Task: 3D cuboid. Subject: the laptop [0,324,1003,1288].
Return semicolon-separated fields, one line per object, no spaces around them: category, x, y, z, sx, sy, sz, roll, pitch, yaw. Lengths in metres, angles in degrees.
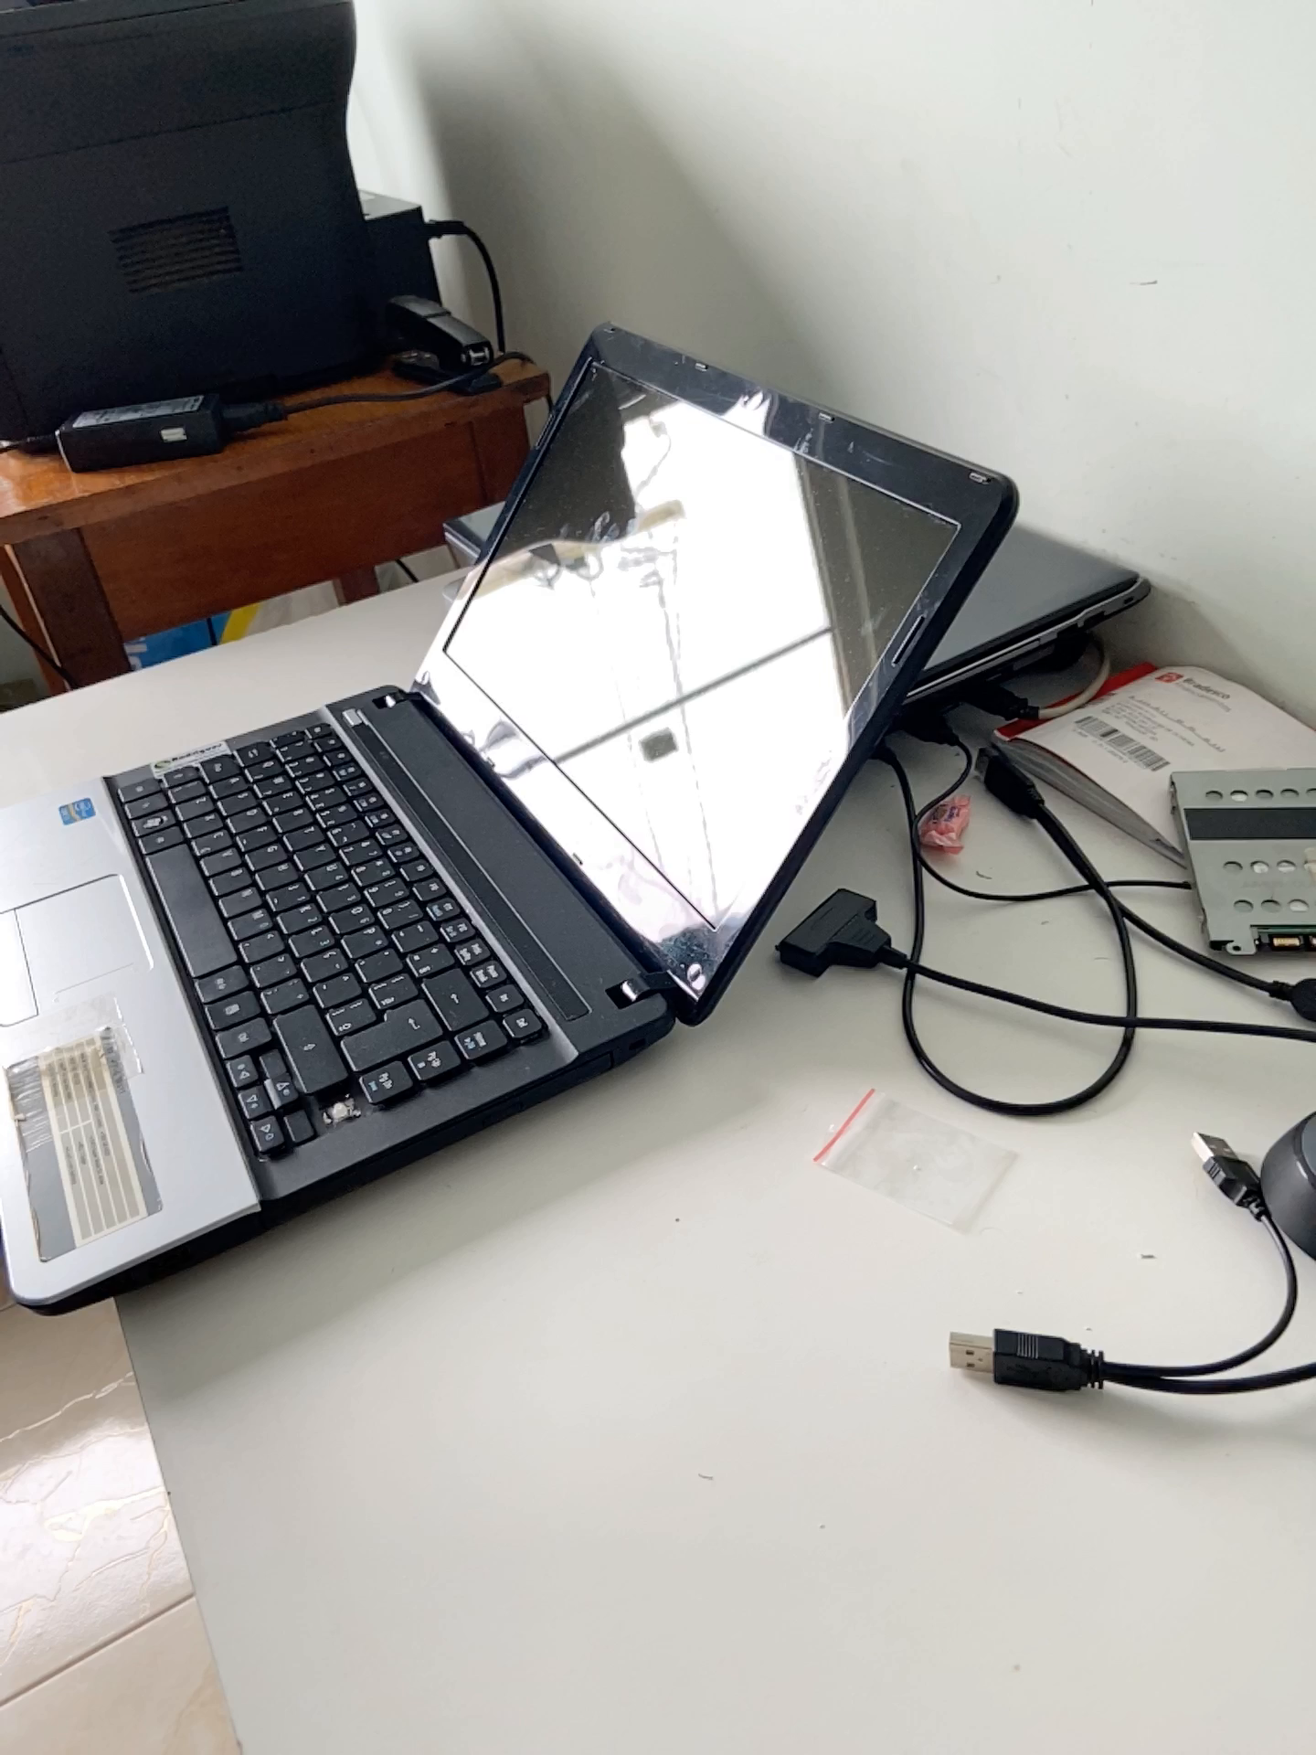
laptop;-0.119;-0.081;0.585;0.396;0.163;0.334;-22;38;-19
